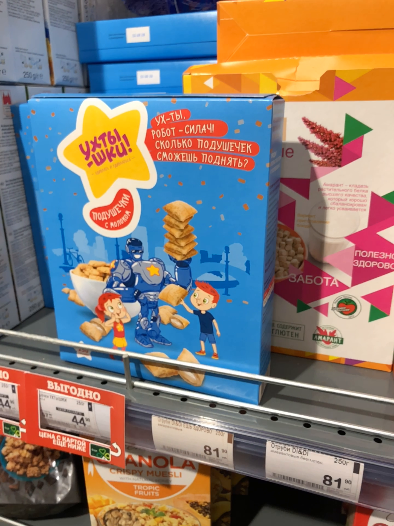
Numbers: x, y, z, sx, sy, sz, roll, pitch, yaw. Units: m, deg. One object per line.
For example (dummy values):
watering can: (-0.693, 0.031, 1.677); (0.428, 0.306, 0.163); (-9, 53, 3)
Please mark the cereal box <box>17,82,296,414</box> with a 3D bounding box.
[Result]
cereal box: (-0.031, -0.015, 0.358); (0.200, 0.239, 0.050); (7, 21, 21)
